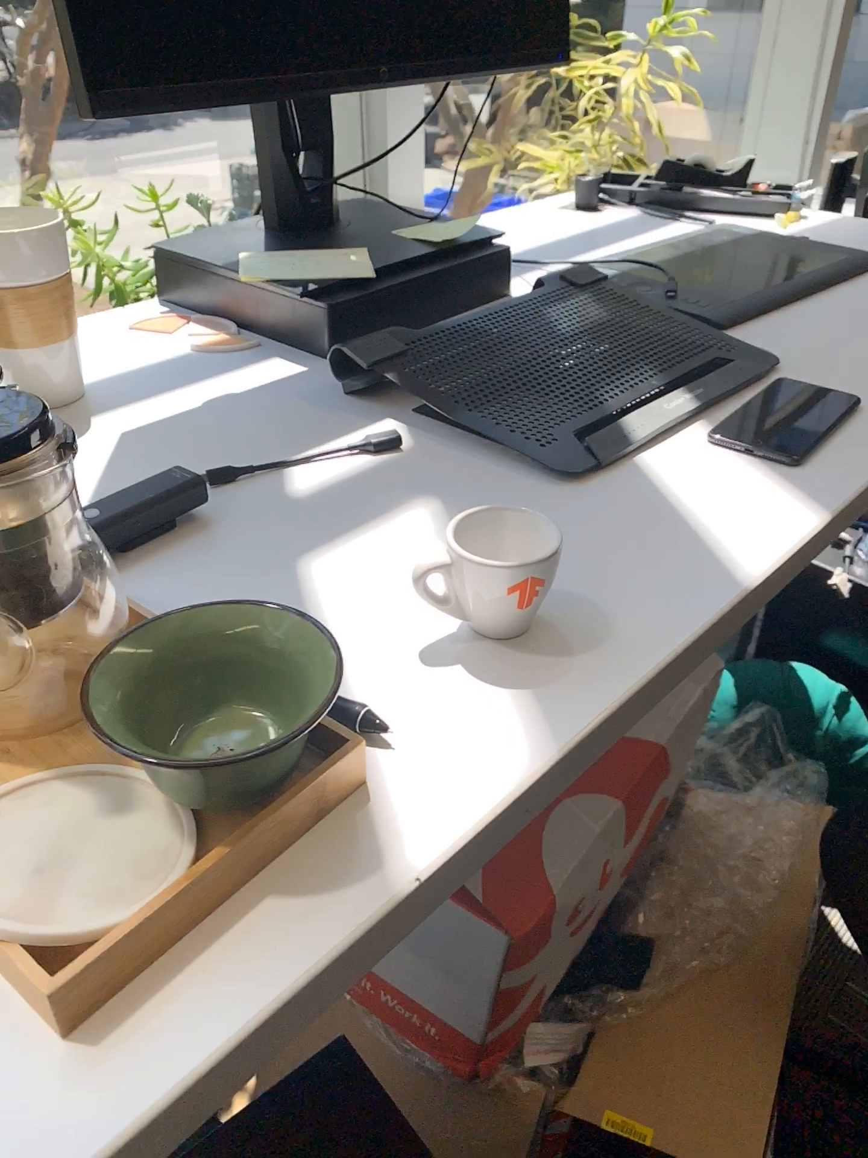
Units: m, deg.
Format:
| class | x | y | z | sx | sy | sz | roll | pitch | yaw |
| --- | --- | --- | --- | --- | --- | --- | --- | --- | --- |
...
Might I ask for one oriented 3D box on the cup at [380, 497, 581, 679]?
| class | x | y | z | sx | sy | sz | roll | pitch | yaw |
| --- | --- | --- | --- | --- | --- | --- | --- | --- | --- |
| cup | 0.023 | 0.003 | 0.493 | 0.090 | 0.060 | 0.060 | -12 | 36 | -18 |
